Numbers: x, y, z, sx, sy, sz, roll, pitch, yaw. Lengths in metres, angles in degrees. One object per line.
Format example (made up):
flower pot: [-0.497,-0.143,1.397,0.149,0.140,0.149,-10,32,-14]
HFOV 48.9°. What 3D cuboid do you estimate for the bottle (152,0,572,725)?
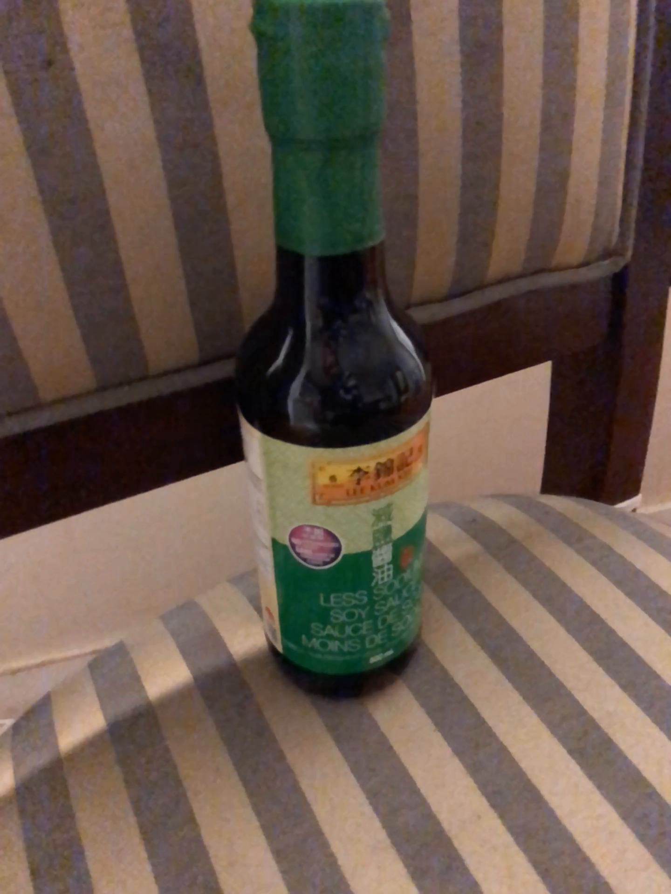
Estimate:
bottle: [0.006,-0.019,0.248,0.080,0.228,0.070,-17,38,-20]
